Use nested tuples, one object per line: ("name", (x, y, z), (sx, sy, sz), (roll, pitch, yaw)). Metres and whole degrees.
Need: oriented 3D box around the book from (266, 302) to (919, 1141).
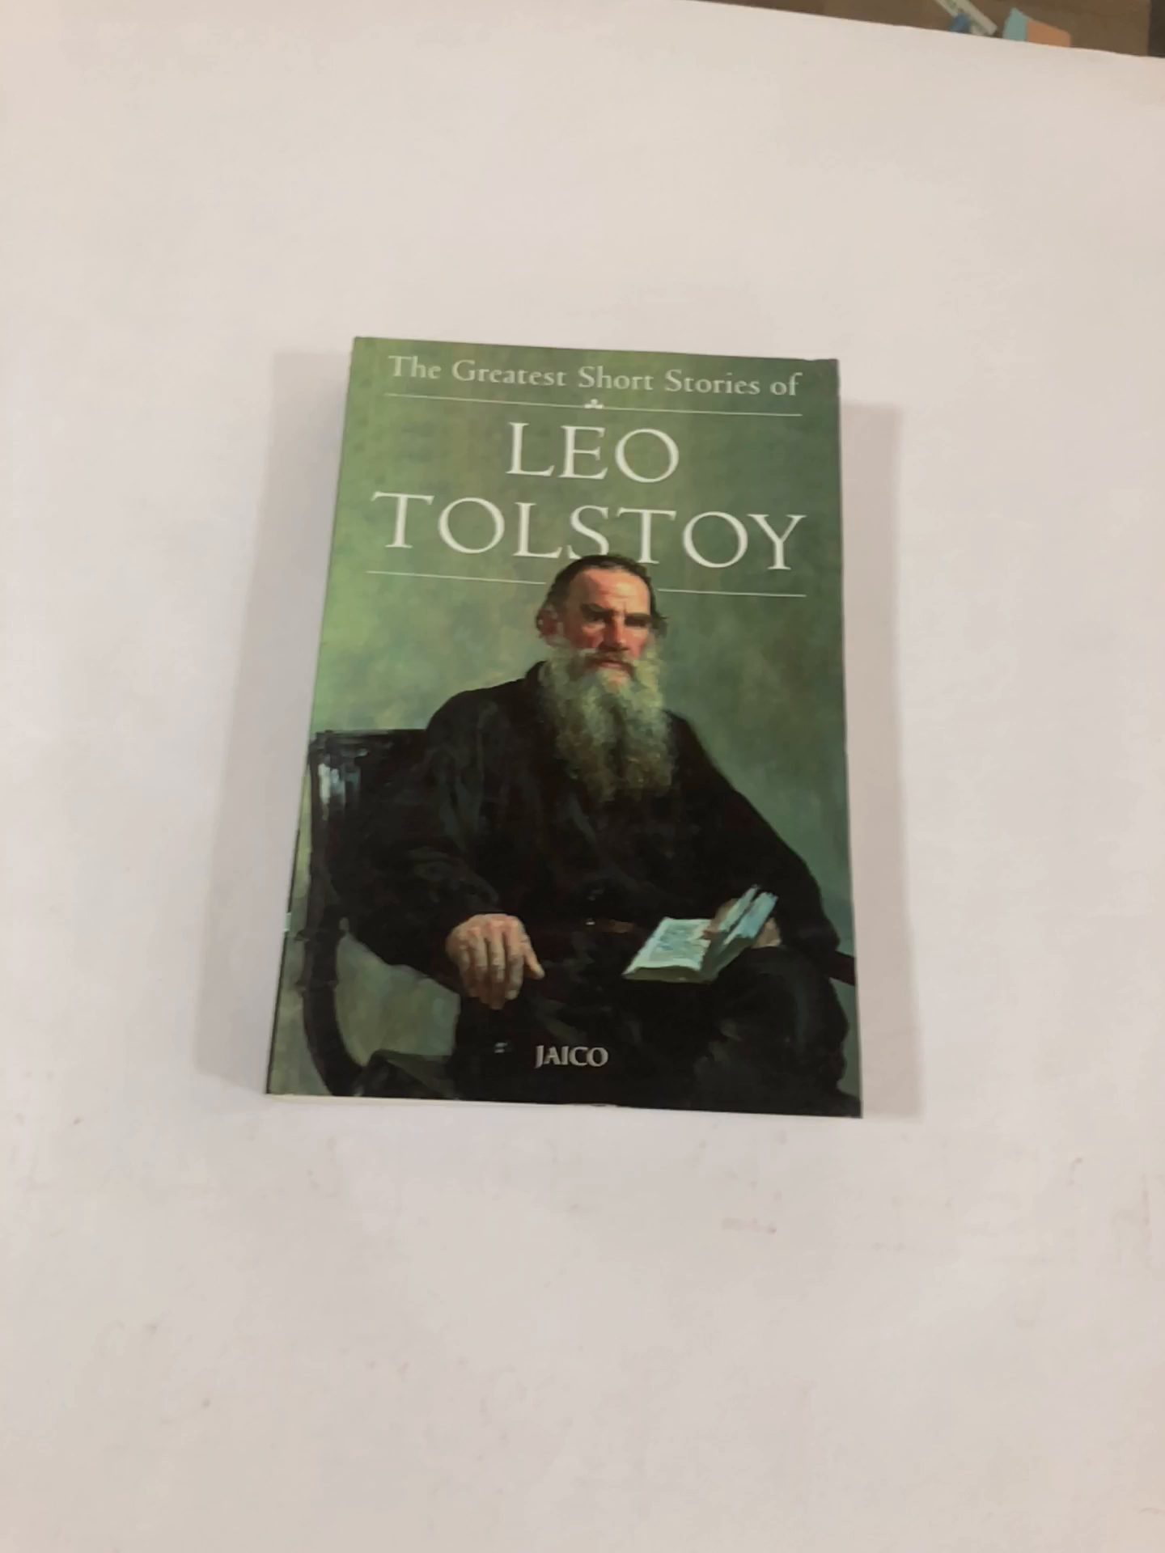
("book", (0.006, -0.024, 0.351), (0.150, 0.020, 0.230), (3, 68, -3))
